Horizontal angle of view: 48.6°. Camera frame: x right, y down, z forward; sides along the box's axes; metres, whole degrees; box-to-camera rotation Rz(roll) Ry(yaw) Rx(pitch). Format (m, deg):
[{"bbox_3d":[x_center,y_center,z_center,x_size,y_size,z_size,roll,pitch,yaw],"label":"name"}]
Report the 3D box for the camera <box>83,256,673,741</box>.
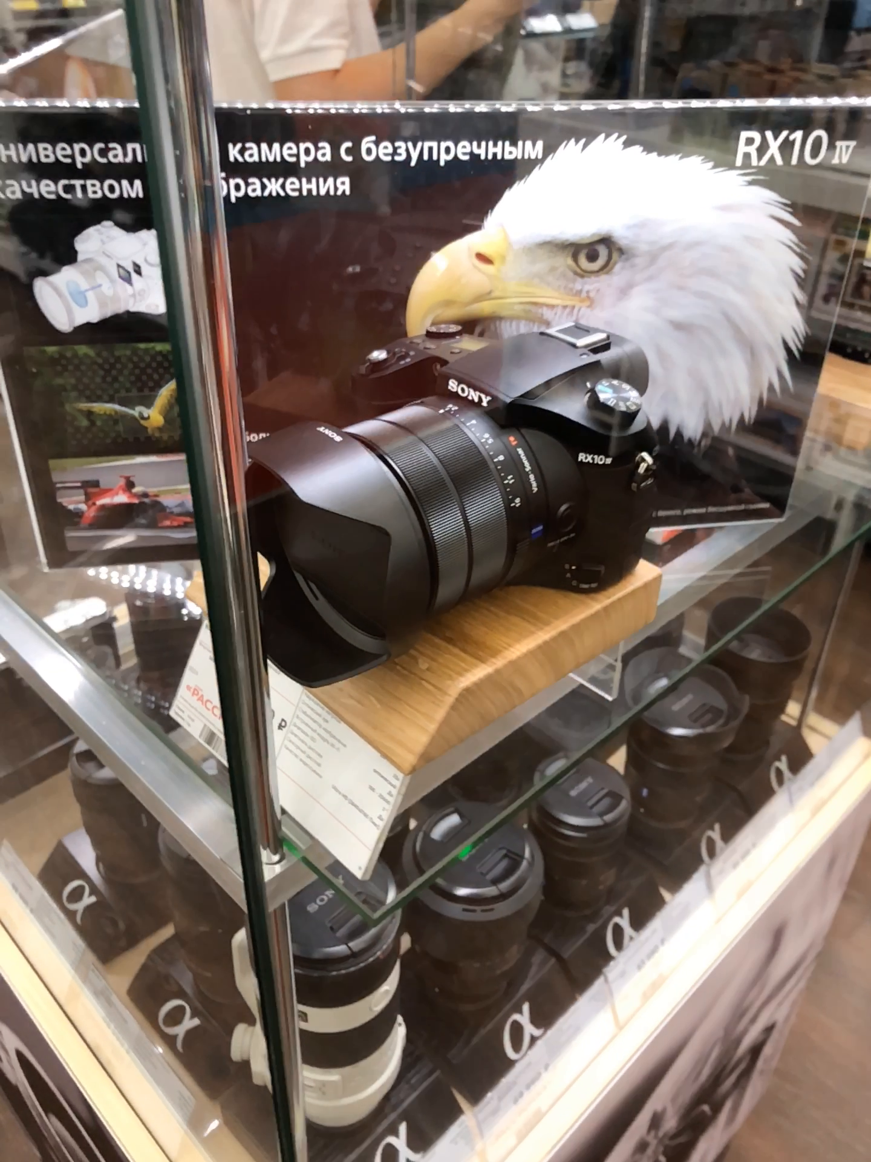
[{"bbox_3d":[-0.017,-0.048,0.383,0.178,0.099,0.127,-28,44,-36],"label":"camera"}]
